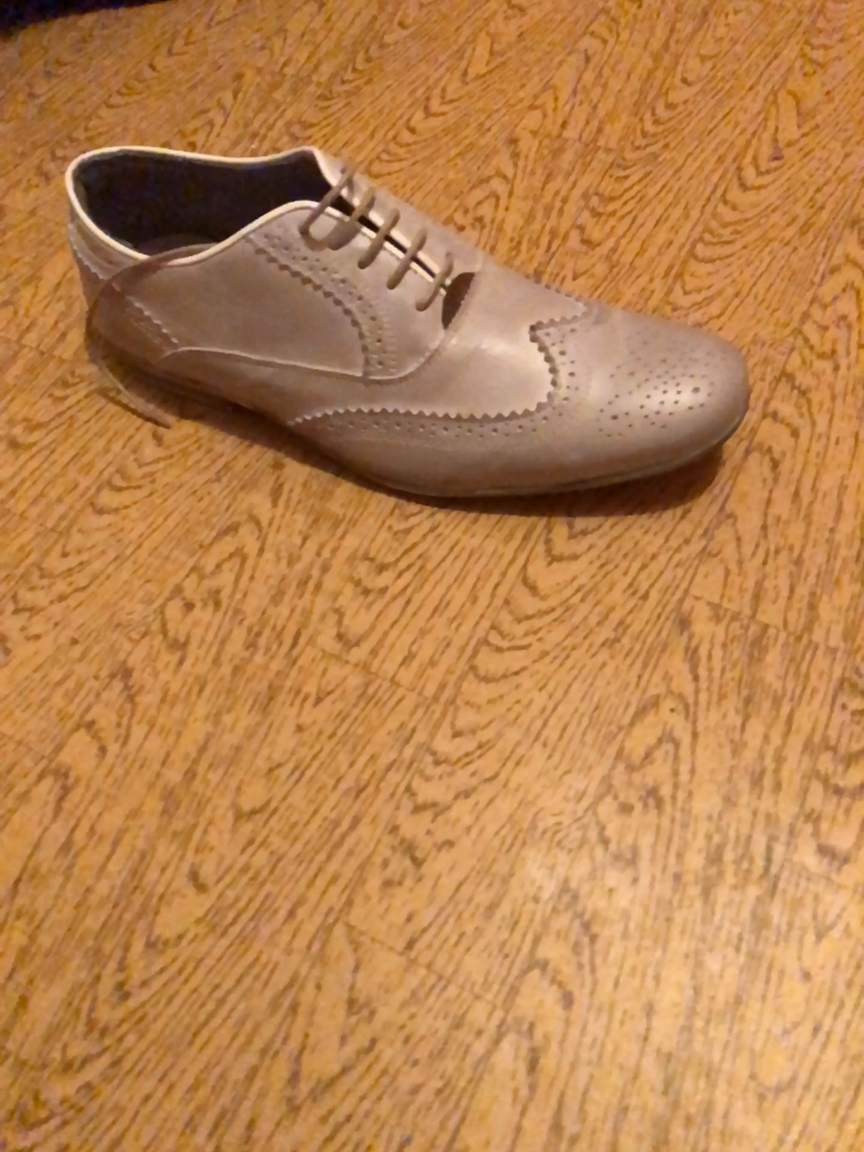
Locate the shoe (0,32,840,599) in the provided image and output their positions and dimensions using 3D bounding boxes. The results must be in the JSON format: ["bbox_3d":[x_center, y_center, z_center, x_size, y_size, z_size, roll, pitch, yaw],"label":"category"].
[{"bbox_3d":[-0.017,-0.110,0.385,0.300,0.110,0.110,19,62,16],"label":"shoe"}]
